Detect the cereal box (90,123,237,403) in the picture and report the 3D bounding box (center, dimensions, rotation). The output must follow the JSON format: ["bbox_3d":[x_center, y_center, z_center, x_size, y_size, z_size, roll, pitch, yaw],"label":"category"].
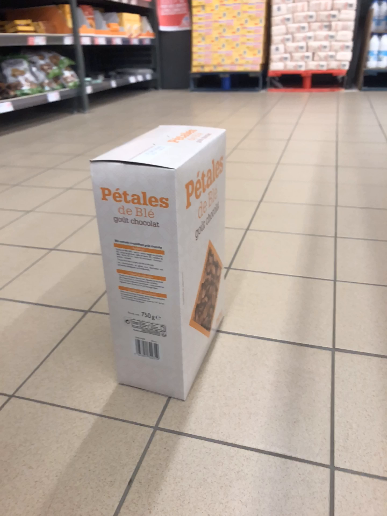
[{"bbox_3d":[-0.019,-0.004,0.541,0.100,0.288,0.191,7,27,17],"label":"cereal box"}]
